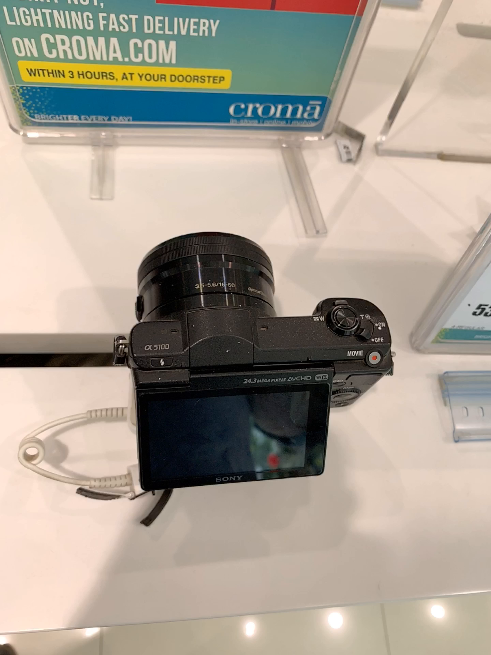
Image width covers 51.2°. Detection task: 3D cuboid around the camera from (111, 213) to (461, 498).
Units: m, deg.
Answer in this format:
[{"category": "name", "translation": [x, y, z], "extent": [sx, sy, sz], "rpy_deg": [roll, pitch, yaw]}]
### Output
[{"category": "camera", "translation": [0.006, 0.015, 0.212], "extent": [0.110, 0.082, 0.088], "rpy_deg": [-1, 64, -10]}]
